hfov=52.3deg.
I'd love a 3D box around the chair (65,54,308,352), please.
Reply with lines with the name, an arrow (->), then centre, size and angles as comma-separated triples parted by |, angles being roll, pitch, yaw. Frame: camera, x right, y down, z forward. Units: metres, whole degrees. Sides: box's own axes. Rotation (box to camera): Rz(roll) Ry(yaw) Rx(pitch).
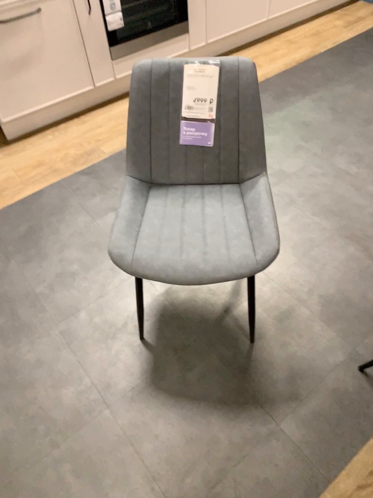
chair -> 0.033, -0.110, 1.321 | 0.522, 0.833, 0.592 | 1, 50, 5
